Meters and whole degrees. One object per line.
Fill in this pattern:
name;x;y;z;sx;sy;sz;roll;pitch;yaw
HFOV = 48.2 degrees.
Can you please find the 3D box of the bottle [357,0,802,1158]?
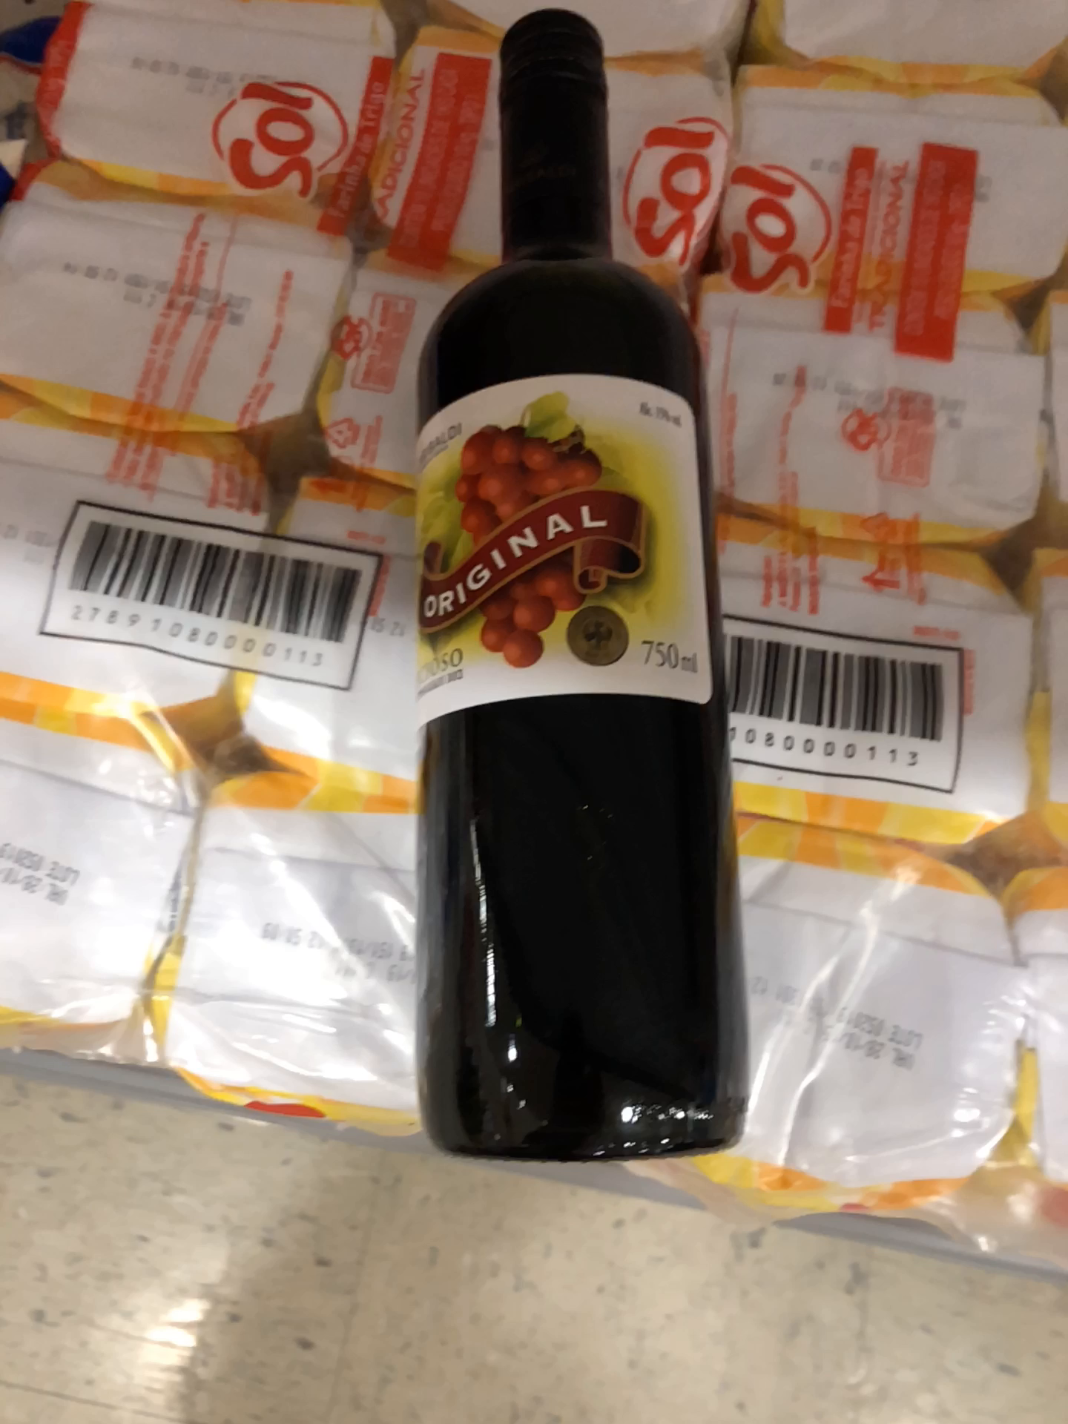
bottle;0.011;-0.057;0.313;0.080;0.070;0.321;-8;72;22
